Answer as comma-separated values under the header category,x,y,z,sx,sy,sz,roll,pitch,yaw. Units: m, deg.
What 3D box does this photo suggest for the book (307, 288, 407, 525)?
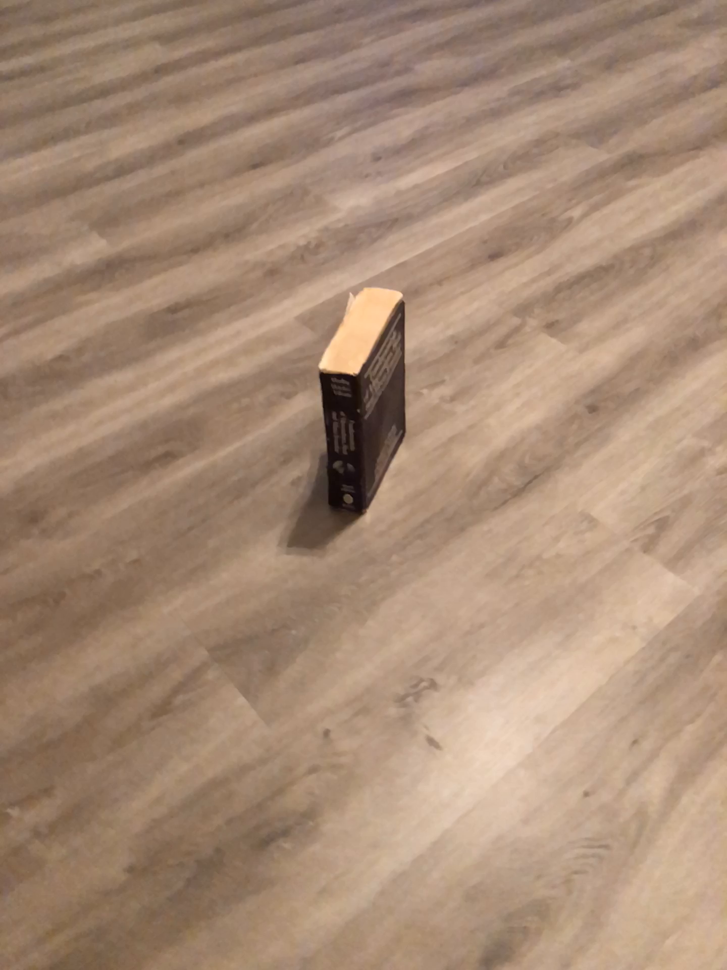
category,x,y,z,sx,sy,sz,roll,pitch,yaw
book,0.000,-0.088,0.930,0.060,0.219,0.155,10,49,13
